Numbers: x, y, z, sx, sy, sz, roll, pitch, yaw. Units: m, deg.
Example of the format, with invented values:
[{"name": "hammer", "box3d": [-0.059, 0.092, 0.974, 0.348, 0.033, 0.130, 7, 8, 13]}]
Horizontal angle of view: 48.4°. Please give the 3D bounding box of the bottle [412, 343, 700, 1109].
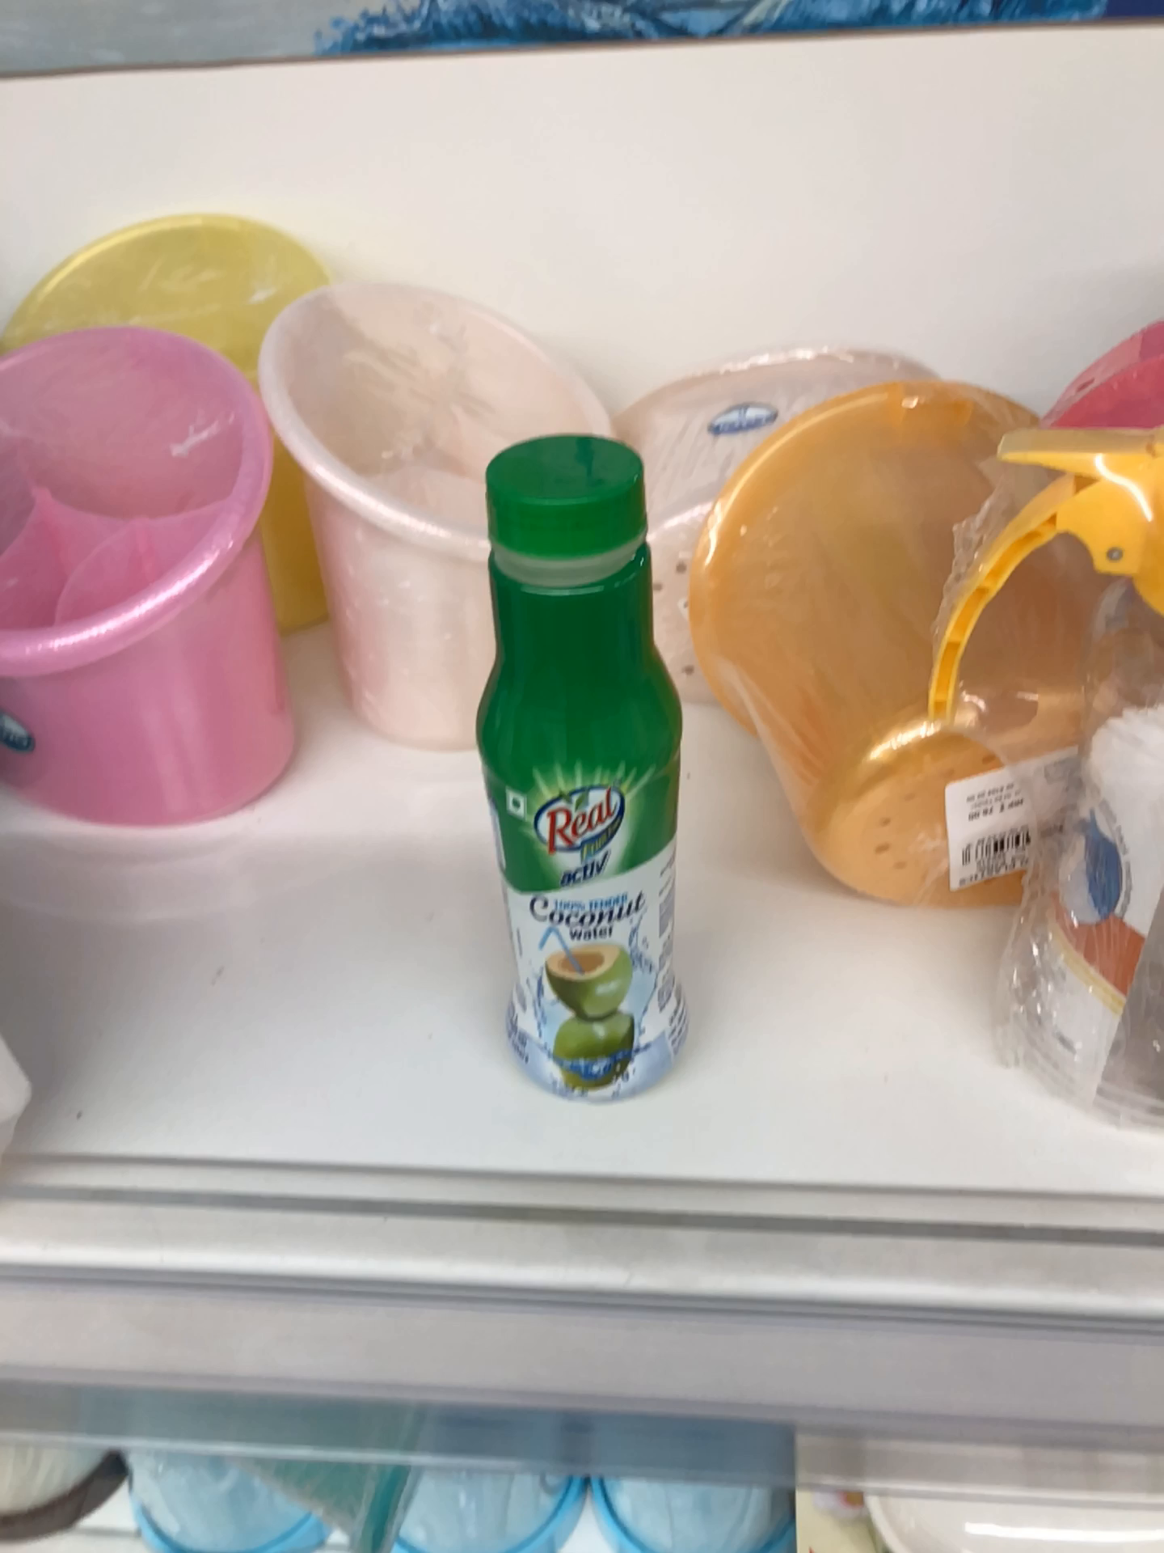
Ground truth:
[{"name": "bottle", "box3d": [-0.003, -0.001, 0.300, 0.050, 0.179, 0.050, -2, 39, 2]}]
